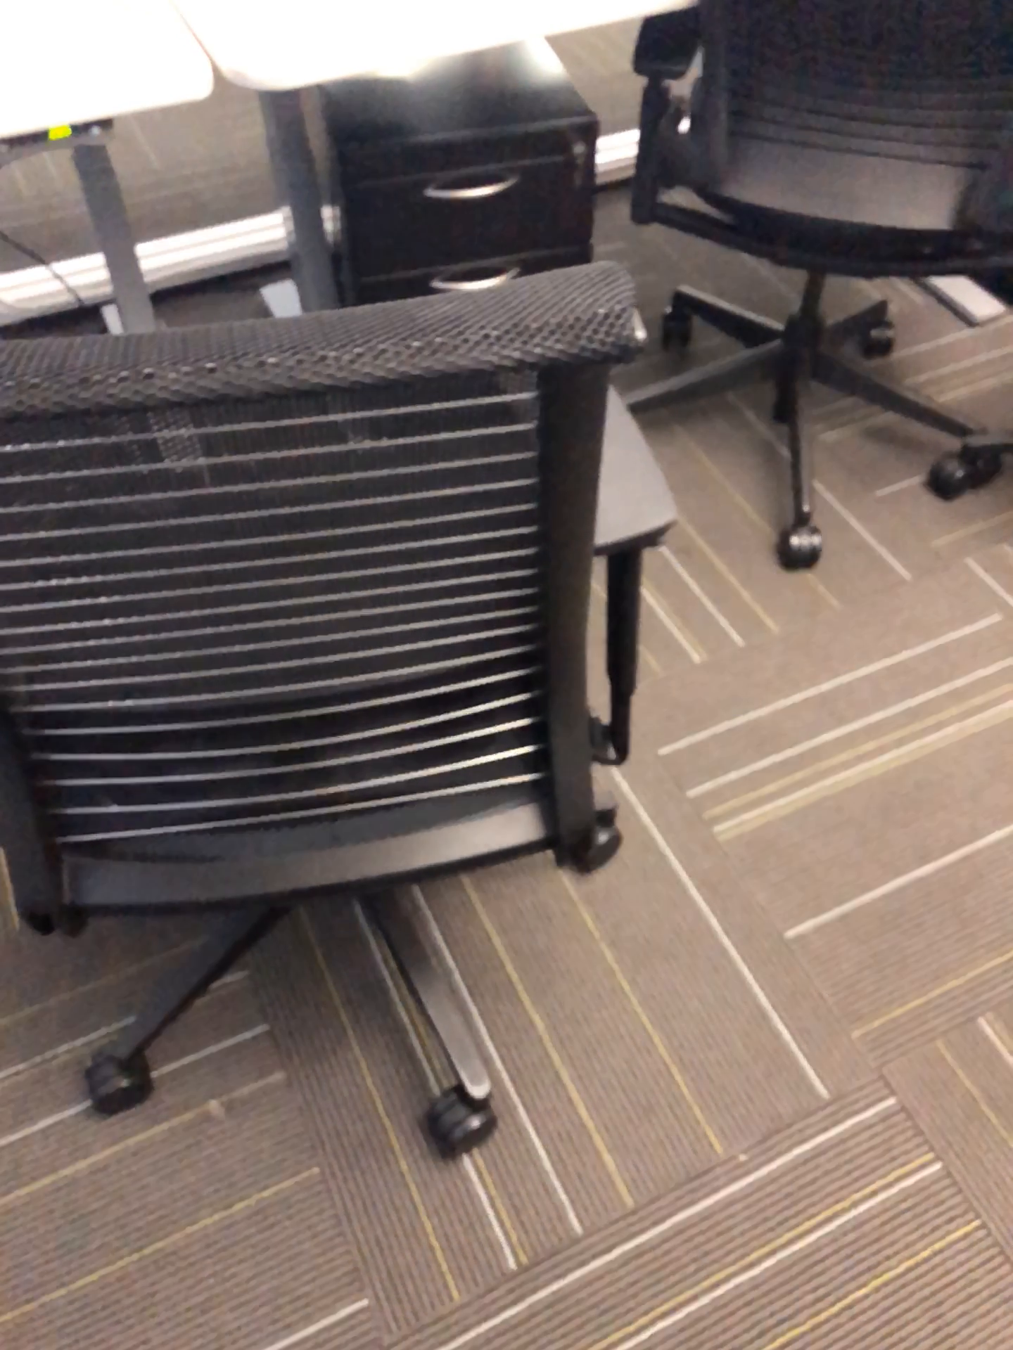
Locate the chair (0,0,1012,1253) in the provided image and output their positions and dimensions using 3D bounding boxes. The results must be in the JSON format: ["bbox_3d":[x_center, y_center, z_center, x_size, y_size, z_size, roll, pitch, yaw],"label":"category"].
[{"bbox_3d":[-0.196,-0.054,0.995,0.750,0.996,0.663,-9,51,-7],"label":"chair"}]
